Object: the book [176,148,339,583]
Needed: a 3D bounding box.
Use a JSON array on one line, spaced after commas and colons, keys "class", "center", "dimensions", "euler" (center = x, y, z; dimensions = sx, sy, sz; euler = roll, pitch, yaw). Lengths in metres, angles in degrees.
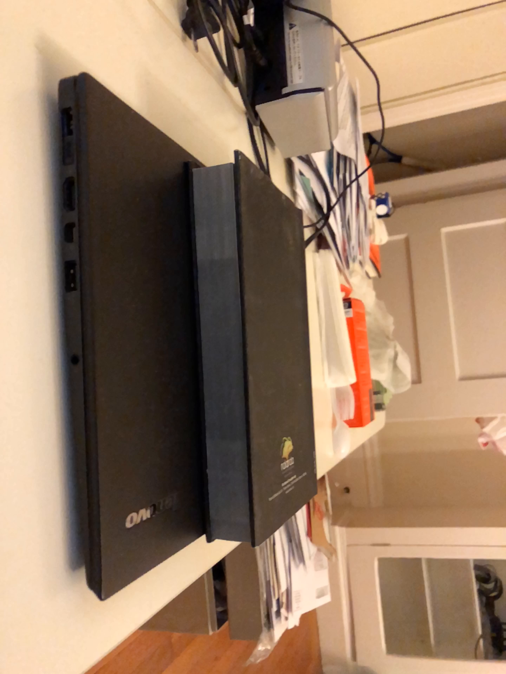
[{"class": "book", "center": [0.011, 0.017, 0.372], "dimensions": [0.151, 0.040, 0.230], "euler": [7, 77, -70]}]
